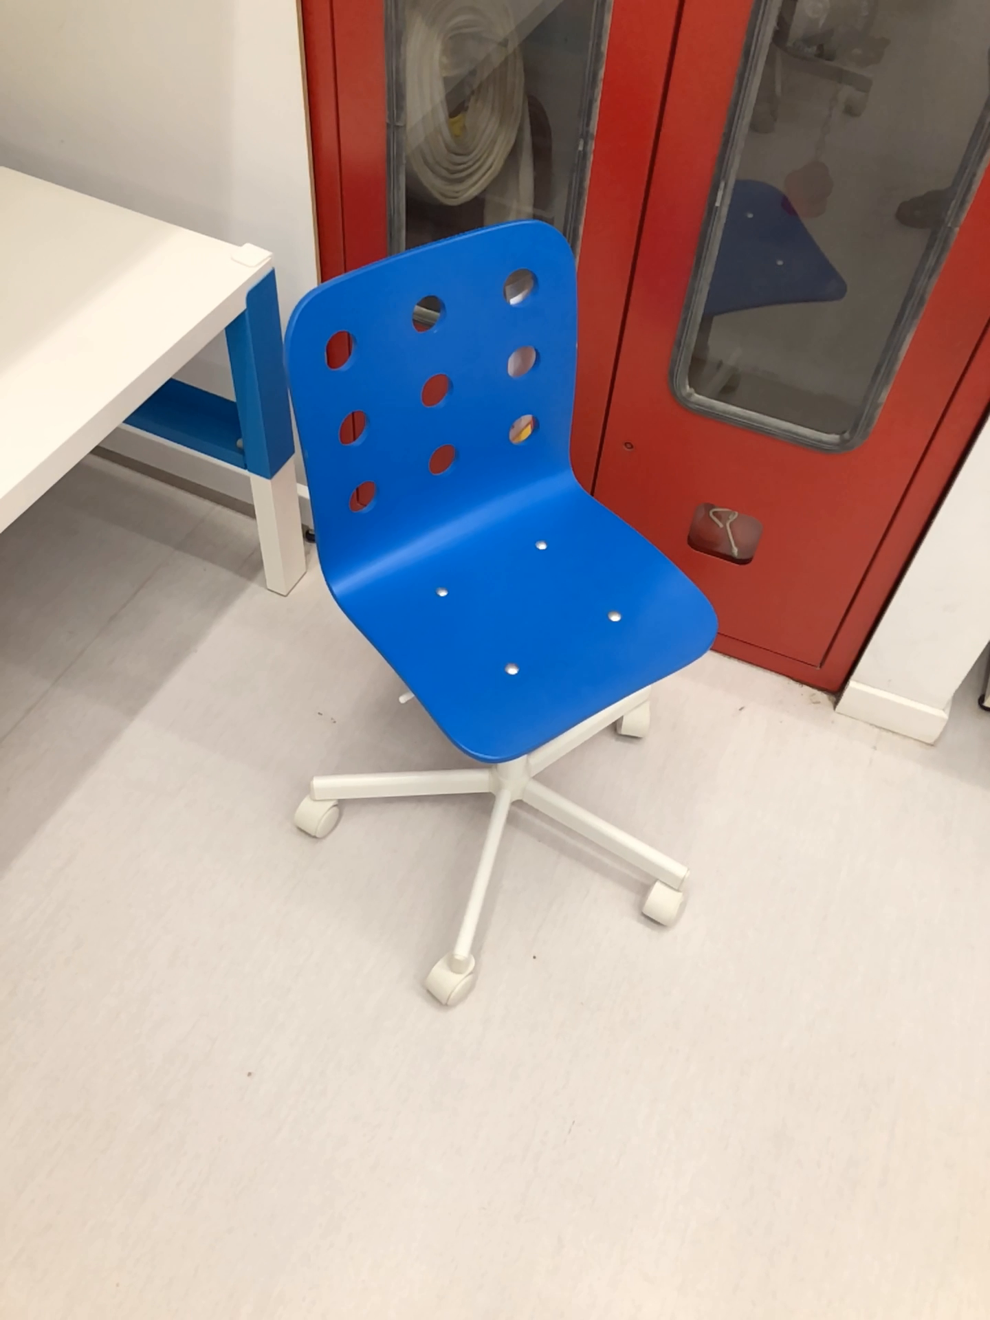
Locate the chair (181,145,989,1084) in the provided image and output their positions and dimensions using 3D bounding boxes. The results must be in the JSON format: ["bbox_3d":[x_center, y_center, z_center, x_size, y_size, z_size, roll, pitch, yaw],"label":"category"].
[{"bbox_3d":[0.091,-0.032,1.143,0.551,0.686,0.492,-28,59,-24],"label":"chair"}]
